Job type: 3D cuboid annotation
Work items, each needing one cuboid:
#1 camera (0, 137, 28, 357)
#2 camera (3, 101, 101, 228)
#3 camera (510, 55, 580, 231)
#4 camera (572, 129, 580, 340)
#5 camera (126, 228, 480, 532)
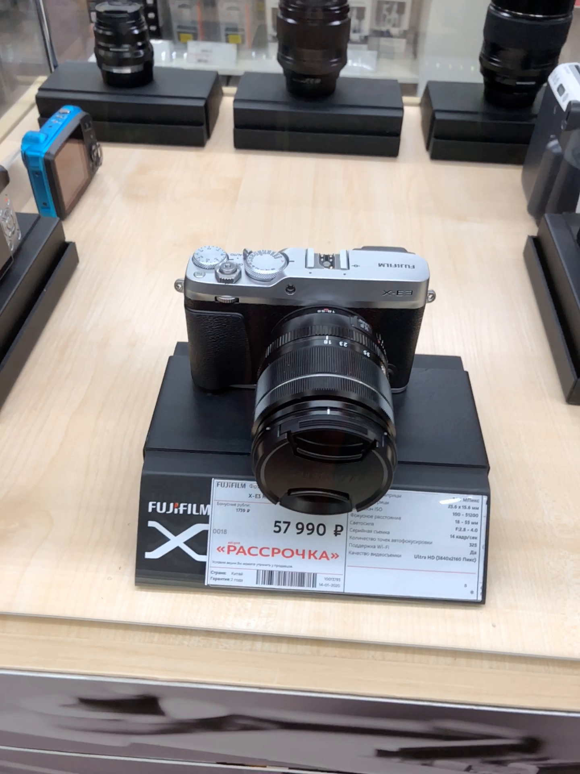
[{"bbox_3d":[-0.230,-0.090,0.393,0.077,0.068,0.132,3,44,1],"label":"camera"},{"bbox_3d":[-0.201,-0.194,0.556,0.036,0.064,0.101,7,44,2],"label":"camera"},{"bbox_3d":[0.223,-0.201,0.530,0.045,0.109,0.088,4,44,5],"label":"camera"},{"bbox_3d":[0.246,-0.102,0.411,0.077,0.068,0.132,5,44,3],"label":"camera"},{"bbox_3d":[0.007,-0.007,0.308,0.131,0.080,0.116,4,44,1],"label":"camera"}]
